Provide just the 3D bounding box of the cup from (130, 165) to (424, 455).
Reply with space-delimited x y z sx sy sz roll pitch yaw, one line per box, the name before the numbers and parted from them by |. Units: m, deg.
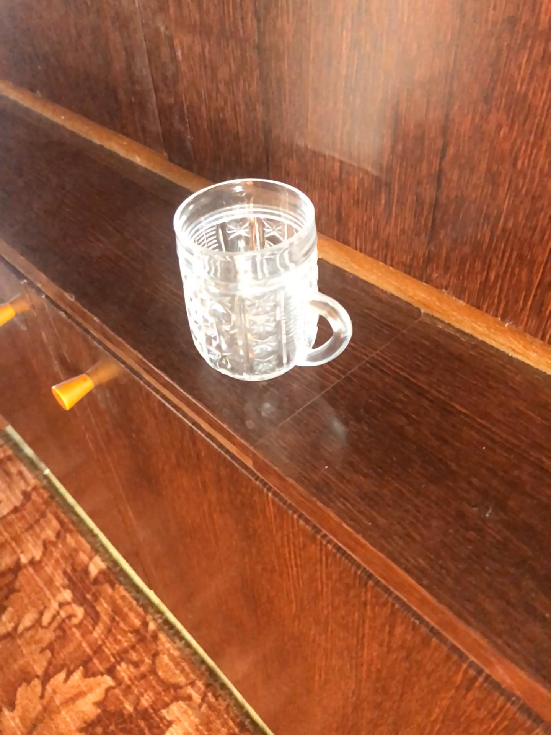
cup | 0.002 -0.030 0.282 0.100 0.080 0.070 24 51 25
